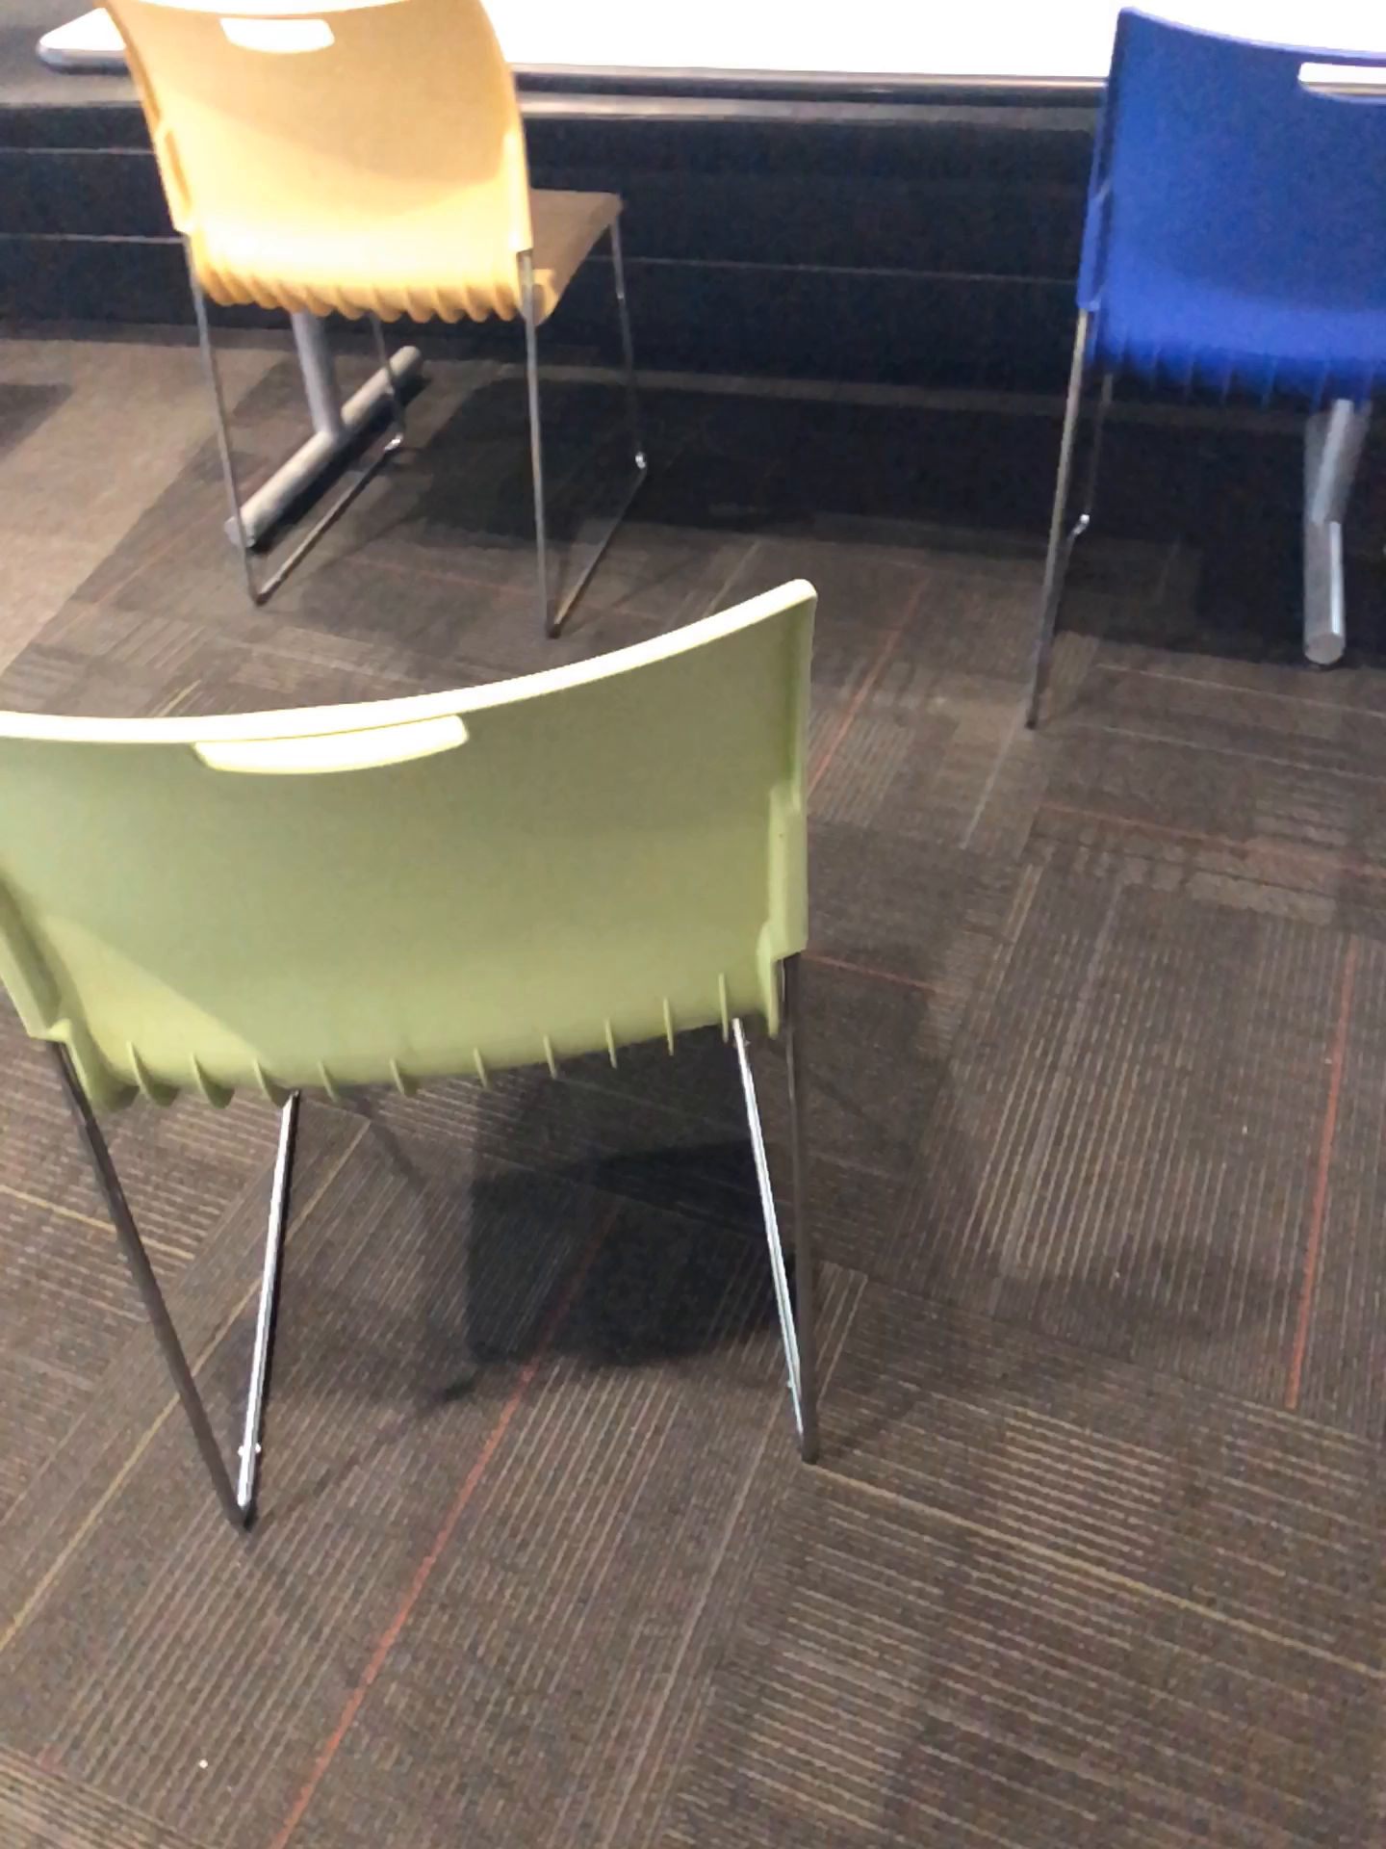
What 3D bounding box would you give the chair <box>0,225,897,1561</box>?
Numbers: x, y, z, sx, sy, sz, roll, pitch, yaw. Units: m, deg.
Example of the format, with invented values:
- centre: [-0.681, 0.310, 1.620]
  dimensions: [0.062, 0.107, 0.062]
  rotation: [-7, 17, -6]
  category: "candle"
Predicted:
- centre: [-0.186, -0.002, 1.118]
  dimensions: [0.540, 0.756, 0.543]
  rotation: [-6, 43, -2]
  category: "chair"
